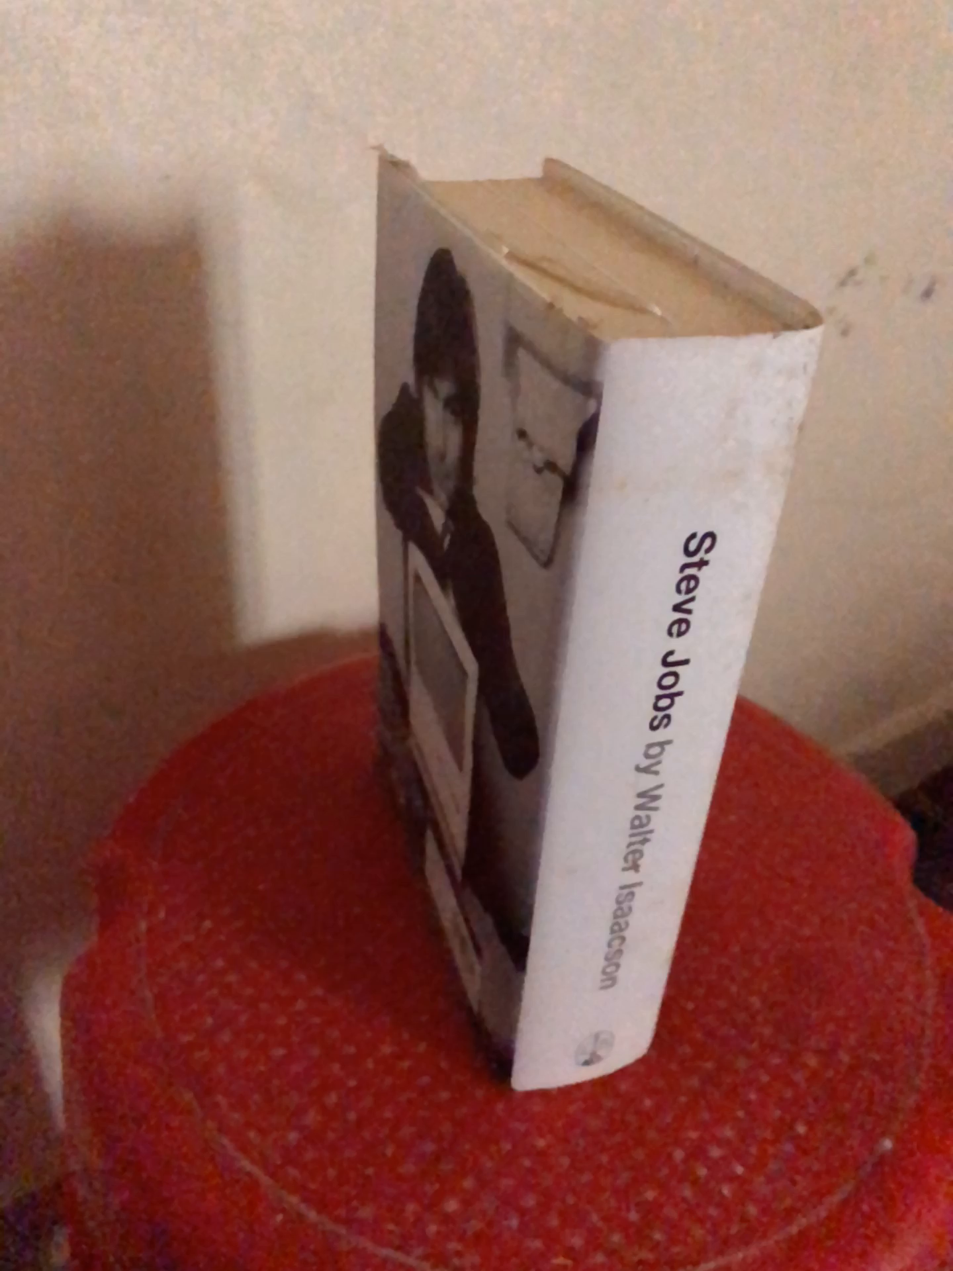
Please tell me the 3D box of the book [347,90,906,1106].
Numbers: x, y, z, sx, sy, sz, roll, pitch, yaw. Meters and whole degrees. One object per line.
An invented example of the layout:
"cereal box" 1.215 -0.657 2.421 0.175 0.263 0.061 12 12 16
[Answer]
"book" 0.013 -0.016 0.305 0.060 0.229 0.171 -8 36 -17
